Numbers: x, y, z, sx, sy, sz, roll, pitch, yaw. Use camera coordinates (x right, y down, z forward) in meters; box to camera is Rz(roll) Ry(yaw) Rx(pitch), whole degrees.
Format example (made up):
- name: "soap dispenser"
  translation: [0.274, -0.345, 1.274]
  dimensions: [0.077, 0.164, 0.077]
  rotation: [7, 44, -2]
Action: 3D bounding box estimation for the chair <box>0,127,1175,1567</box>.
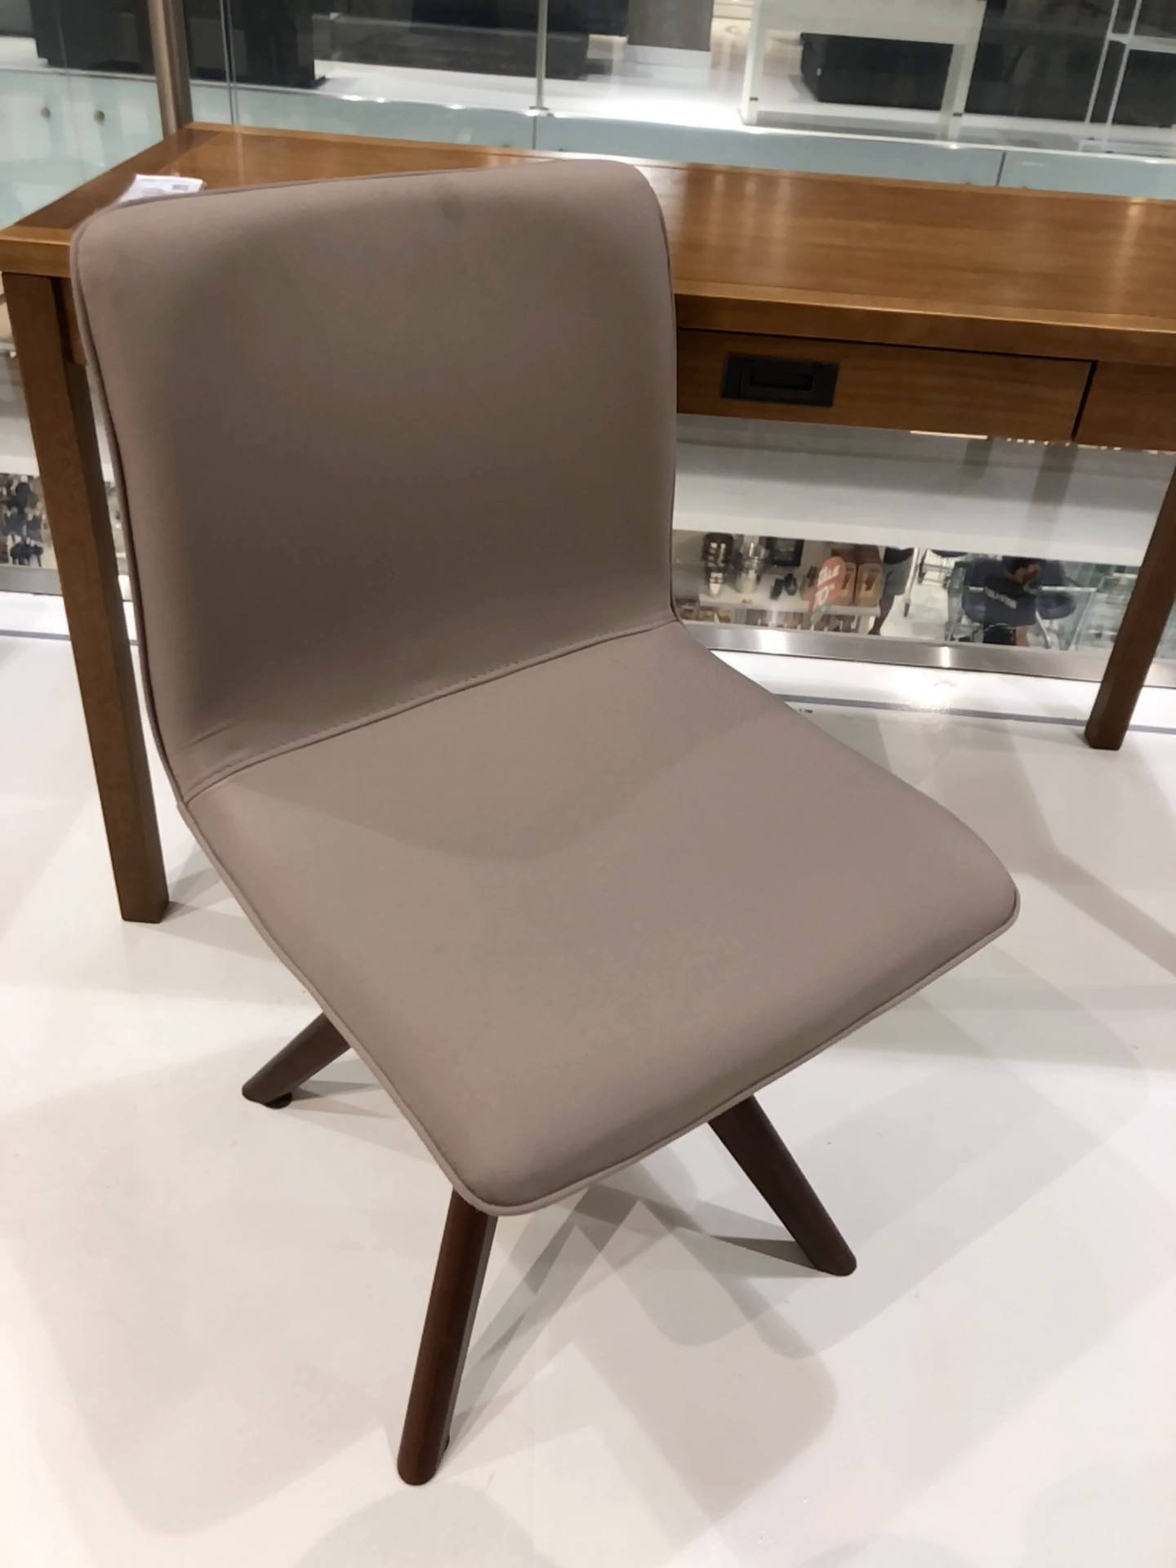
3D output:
- name: "chair"
  translation: [-0.036, 0.018, 0.987]
  dimensions: [0.542, 0.833, 0.532]
  rotation: [-22, 43, -33]
